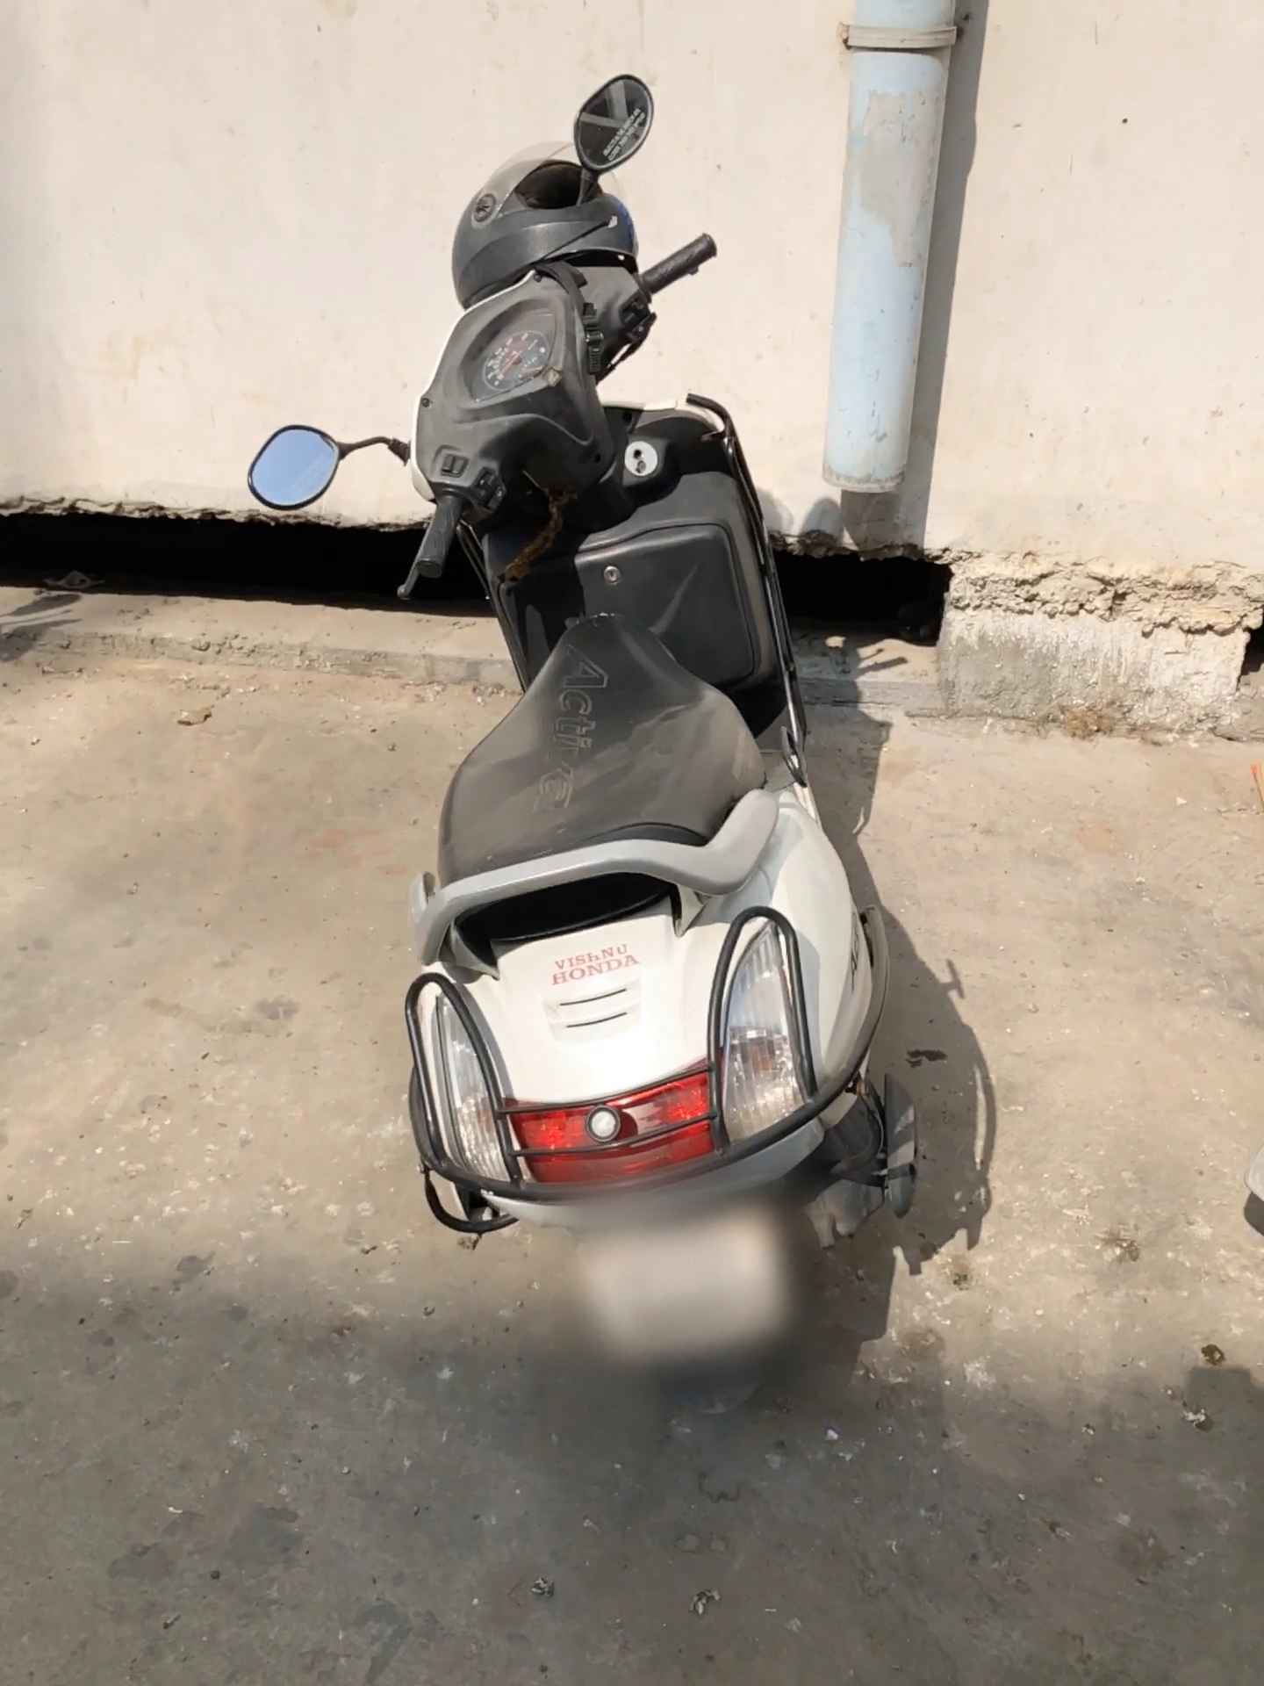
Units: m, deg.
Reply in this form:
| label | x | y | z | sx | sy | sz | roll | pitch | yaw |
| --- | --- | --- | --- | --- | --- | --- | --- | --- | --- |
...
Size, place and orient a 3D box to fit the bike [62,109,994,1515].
| label | x | y | z | sx | sy | sz | roll | pitch | yaw |
| --- | --- | --- | --- | --- | --- | --- | --- | --- | --- |
| bike | -0.224 | -0.138 | 1.736 | 0.625 | 1.122 | 1.307 | -7 | 37 | -10 |
